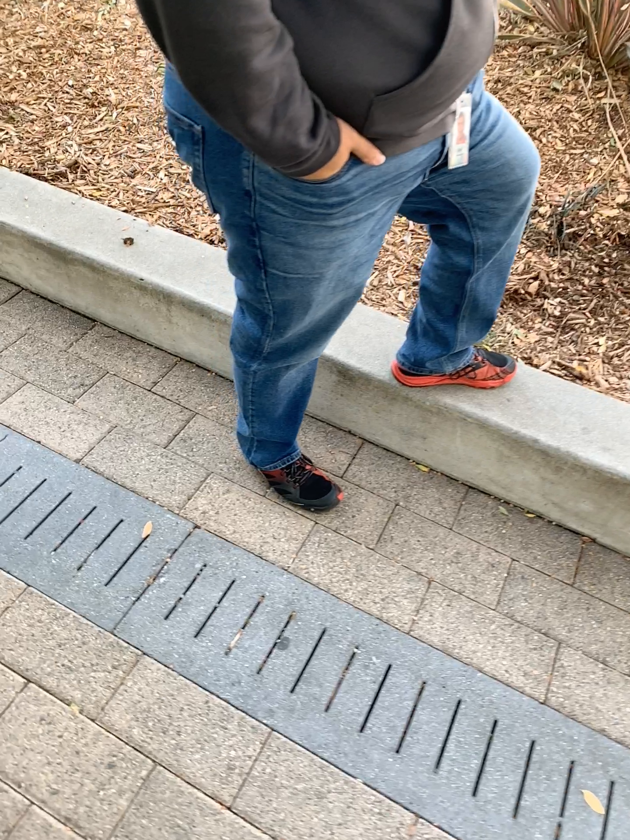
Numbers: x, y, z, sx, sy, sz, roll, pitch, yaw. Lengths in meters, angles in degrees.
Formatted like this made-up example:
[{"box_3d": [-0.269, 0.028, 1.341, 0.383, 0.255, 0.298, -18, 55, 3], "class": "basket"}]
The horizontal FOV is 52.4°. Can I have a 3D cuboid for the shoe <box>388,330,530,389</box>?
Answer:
[{"box_3d": [0.347, -0.149, 1.573, 0.310, 0.080, 0.122, 0, 46, -7], "class": "shoe"}]

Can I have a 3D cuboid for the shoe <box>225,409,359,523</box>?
[{"box_3d": [-0.061, 0.109, 1.595, 0.306, 0.080, 0.137, 29, 50, 20], "class": "shoe"}]
